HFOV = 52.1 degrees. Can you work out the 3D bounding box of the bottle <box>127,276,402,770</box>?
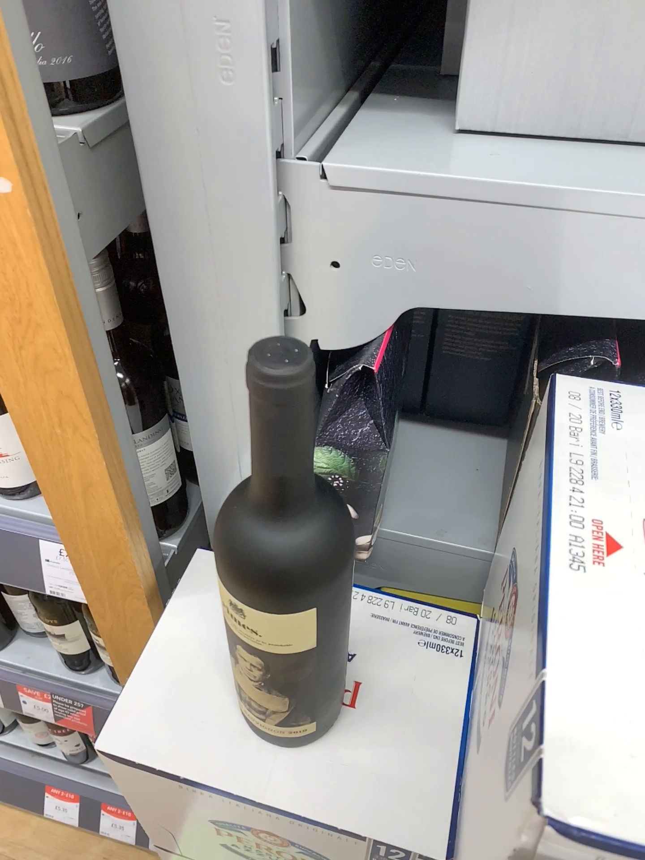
[{"bbox_3d":[-0.022,0.072,0.358,0.078,0.288,0.075,0,43,0],"label":"bottle"}]
